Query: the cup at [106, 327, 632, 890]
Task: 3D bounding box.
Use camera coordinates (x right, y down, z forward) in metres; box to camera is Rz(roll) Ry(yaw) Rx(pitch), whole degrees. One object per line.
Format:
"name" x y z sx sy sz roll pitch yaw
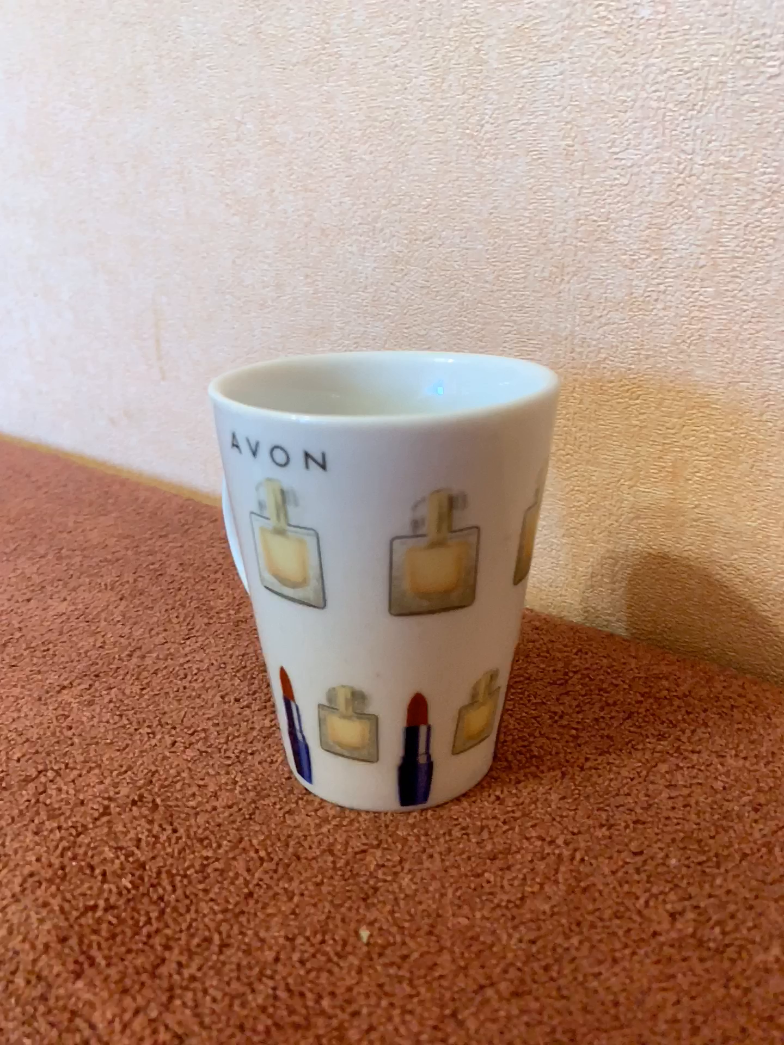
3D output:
"cup" -0.008 0.008 0.205 0.071 0.093 0.103 -21 29 -38
